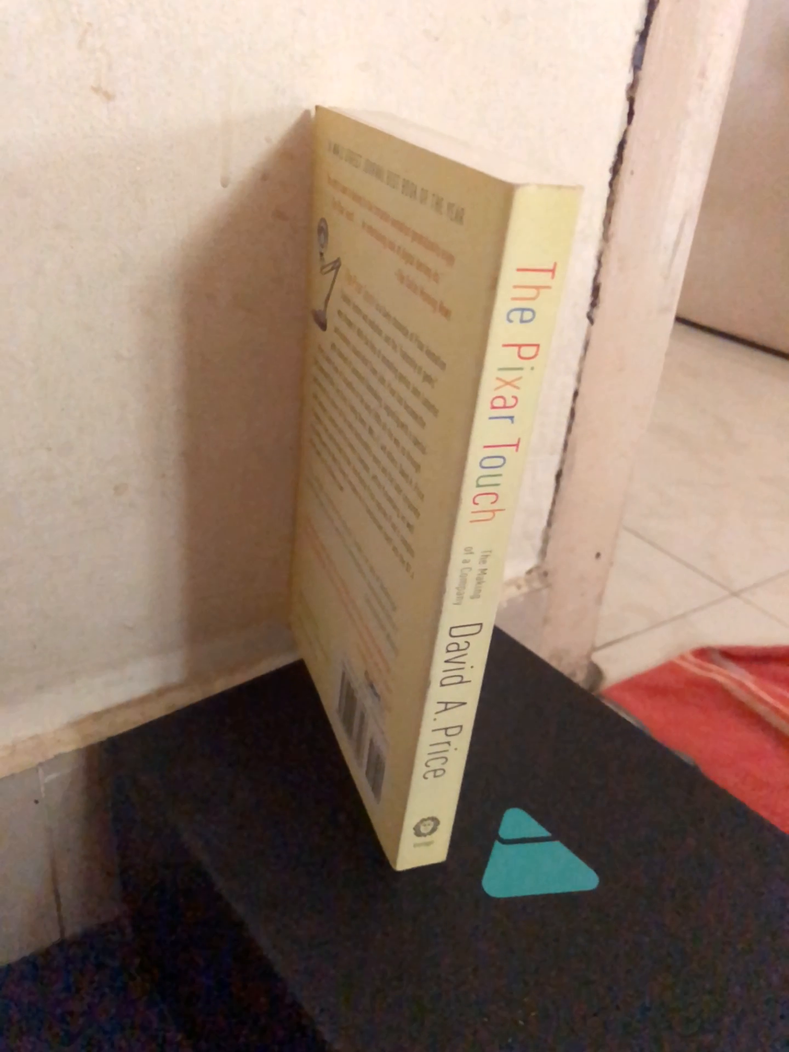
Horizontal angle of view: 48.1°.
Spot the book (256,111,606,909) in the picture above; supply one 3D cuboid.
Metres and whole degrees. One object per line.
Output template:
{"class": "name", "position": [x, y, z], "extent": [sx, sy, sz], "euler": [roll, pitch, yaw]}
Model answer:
{"class": "book", "position": [-0.008, -0.011, 0.273], "extent": [0.030, 0.199, 0.141], "euler": [-4, 30, -21]}
